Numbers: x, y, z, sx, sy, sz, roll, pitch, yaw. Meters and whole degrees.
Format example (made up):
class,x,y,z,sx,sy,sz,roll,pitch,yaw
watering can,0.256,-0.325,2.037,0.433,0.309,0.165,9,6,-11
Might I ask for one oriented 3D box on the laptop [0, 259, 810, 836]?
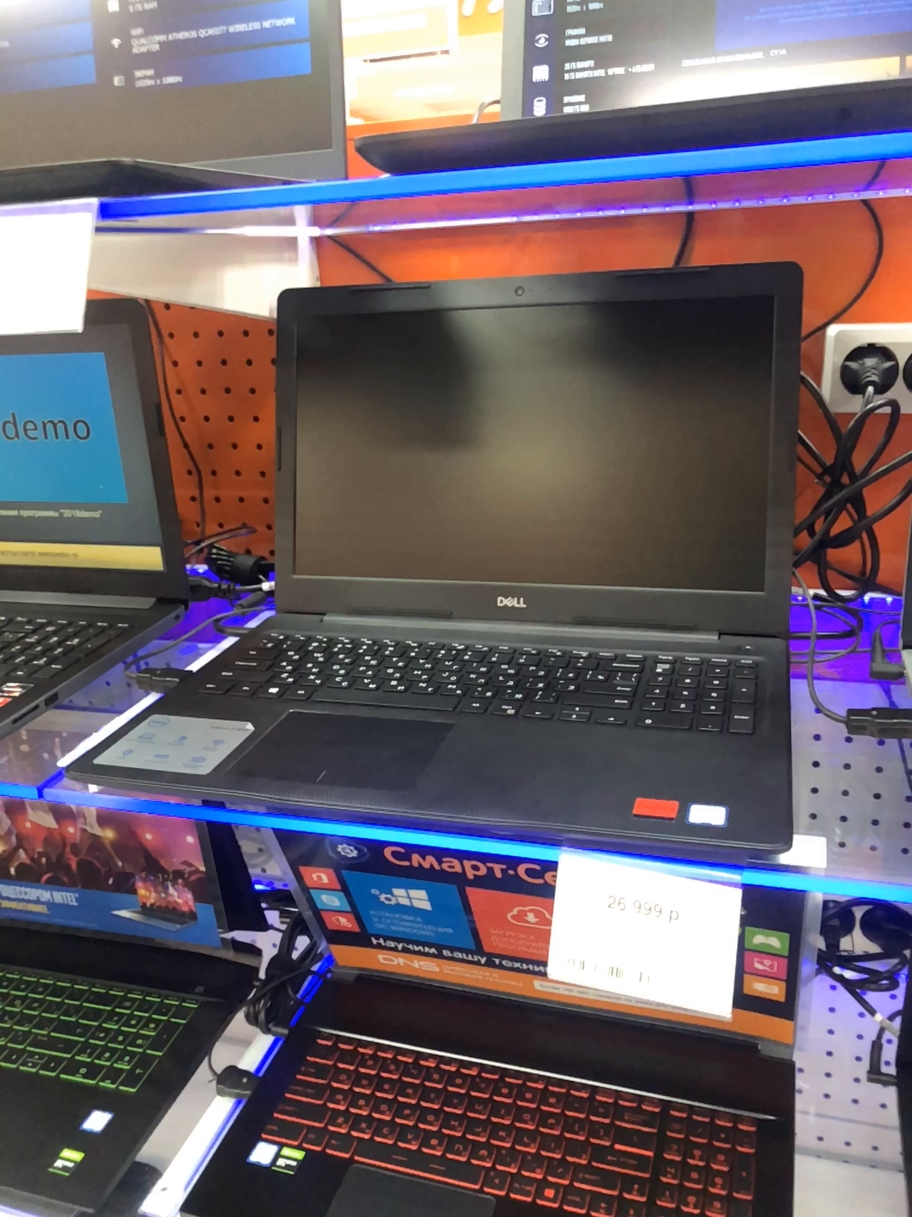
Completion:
class,x,y,z,sx,sy,sz,roll,pitch,yaw
laptop,-0.001,-0.071,0.596,0.373,0.233,0.317,2,19,16
